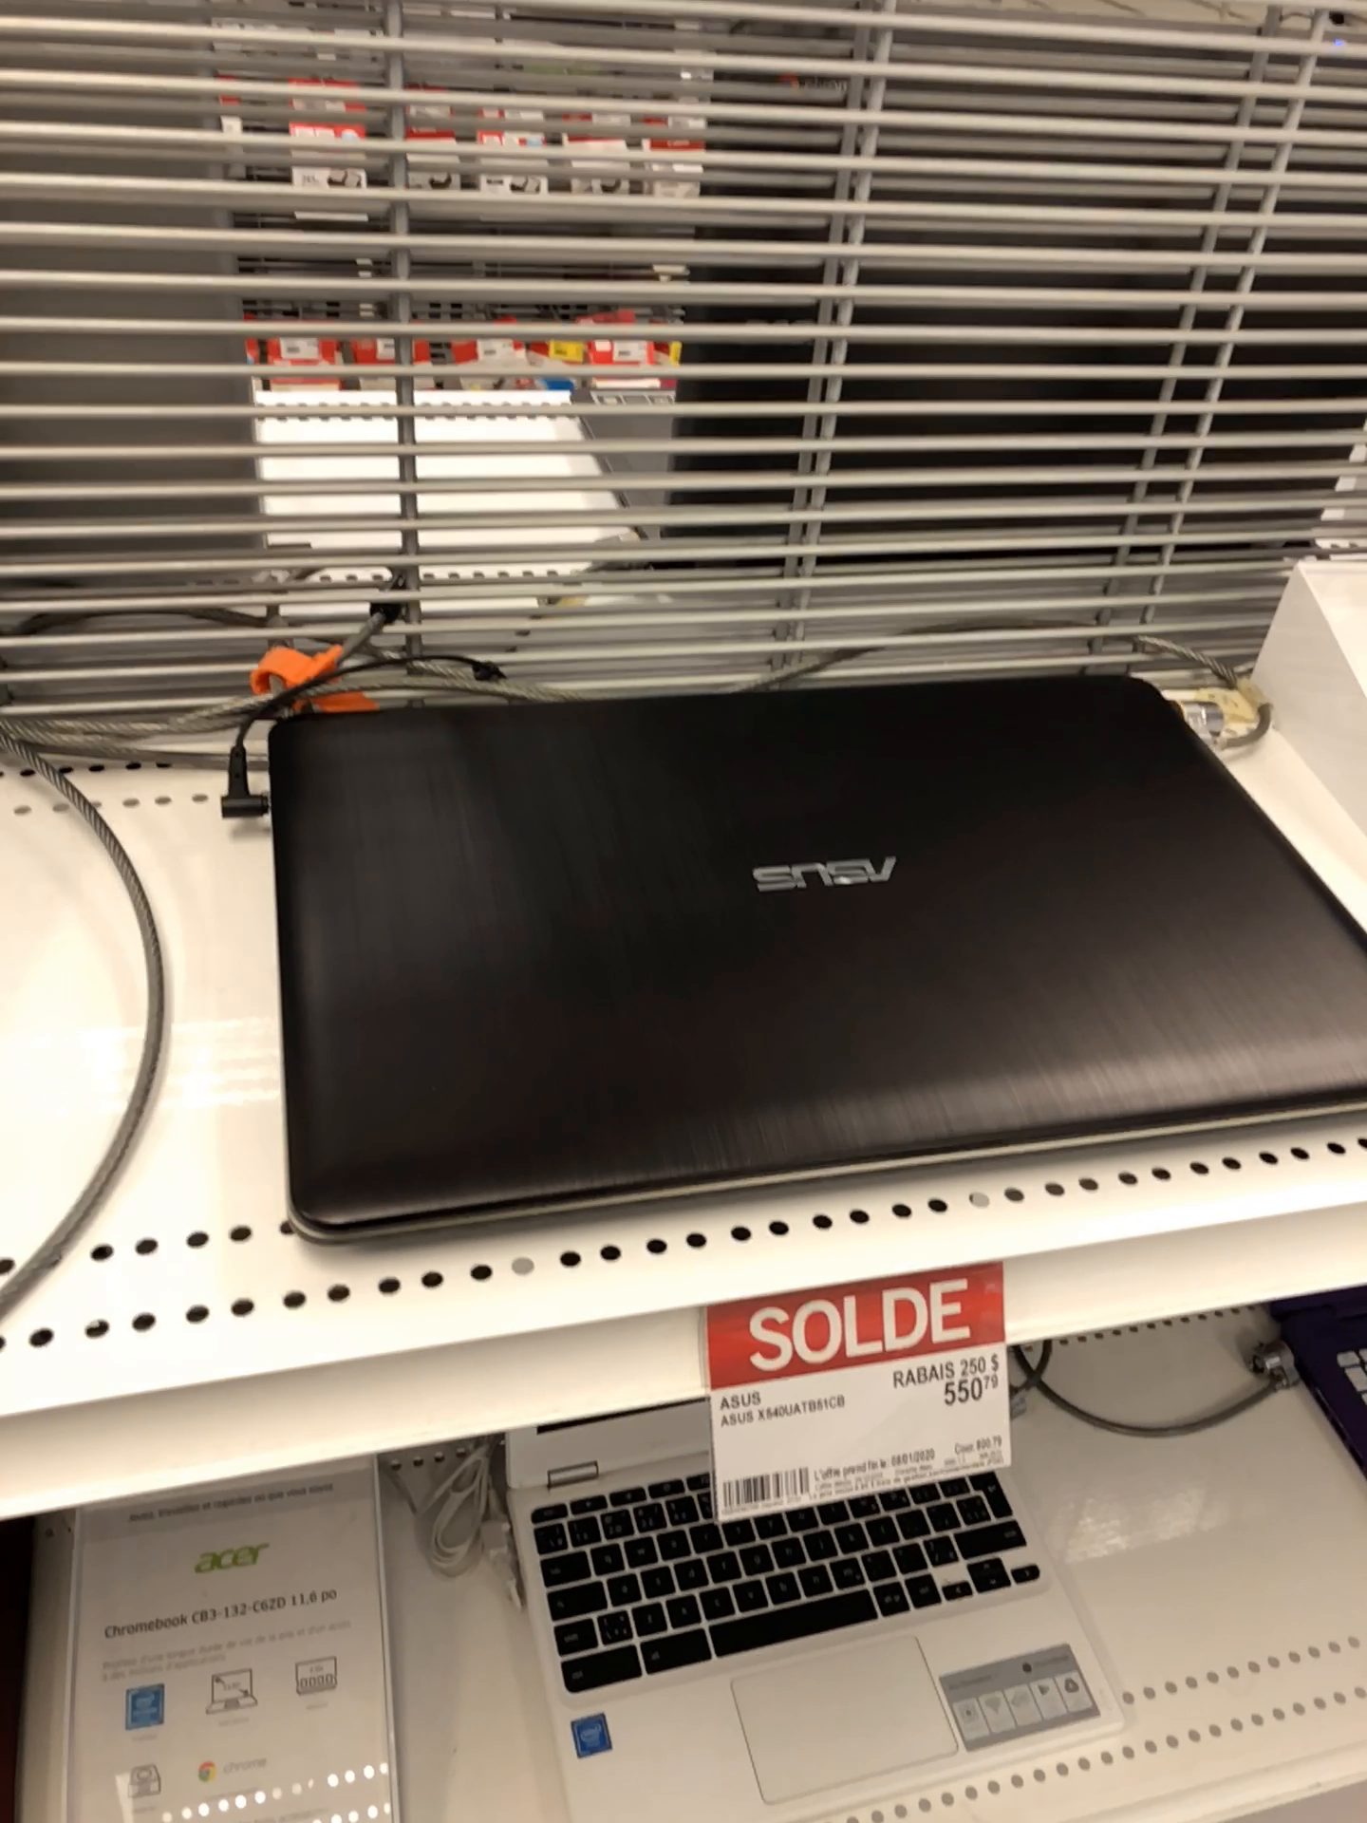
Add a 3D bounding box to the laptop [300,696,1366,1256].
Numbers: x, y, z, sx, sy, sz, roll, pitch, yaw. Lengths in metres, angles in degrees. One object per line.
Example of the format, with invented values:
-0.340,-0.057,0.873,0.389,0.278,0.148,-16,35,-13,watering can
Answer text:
0.053,-0.002,0.549,0.367,0.013,0.235,-4,42,-16,laptop
